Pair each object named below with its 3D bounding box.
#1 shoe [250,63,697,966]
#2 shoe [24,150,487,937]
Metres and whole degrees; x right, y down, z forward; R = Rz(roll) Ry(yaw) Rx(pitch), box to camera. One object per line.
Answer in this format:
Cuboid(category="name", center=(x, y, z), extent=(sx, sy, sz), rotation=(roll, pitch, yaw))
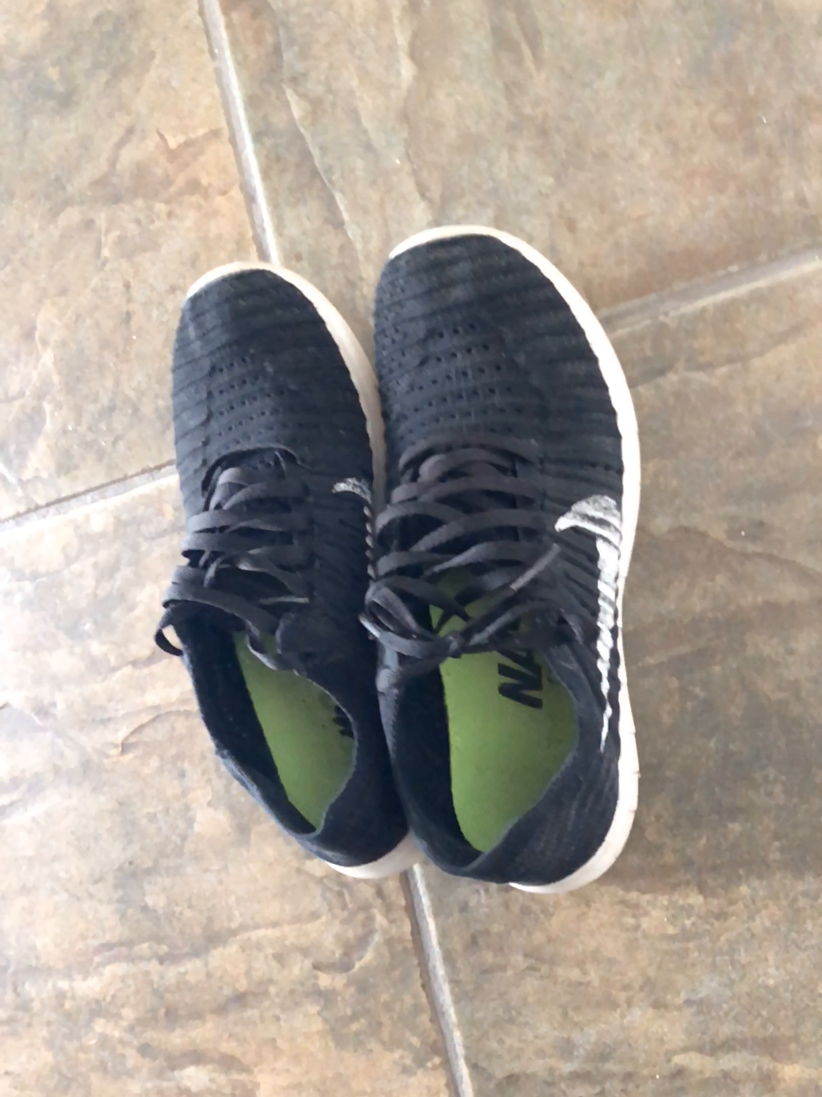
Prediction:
Cuboid(category="shoe", center=(0.026, -0.006, 0.317), extent=(0.100, 0.090, 0.260), rotation=(-9, 85, 19))
Cuboid(category="shoe", center=(-0.059, 0.000, 0.362), extent=(0.100, 0.090, 0.260), rotation=(-15, 83, 18))
